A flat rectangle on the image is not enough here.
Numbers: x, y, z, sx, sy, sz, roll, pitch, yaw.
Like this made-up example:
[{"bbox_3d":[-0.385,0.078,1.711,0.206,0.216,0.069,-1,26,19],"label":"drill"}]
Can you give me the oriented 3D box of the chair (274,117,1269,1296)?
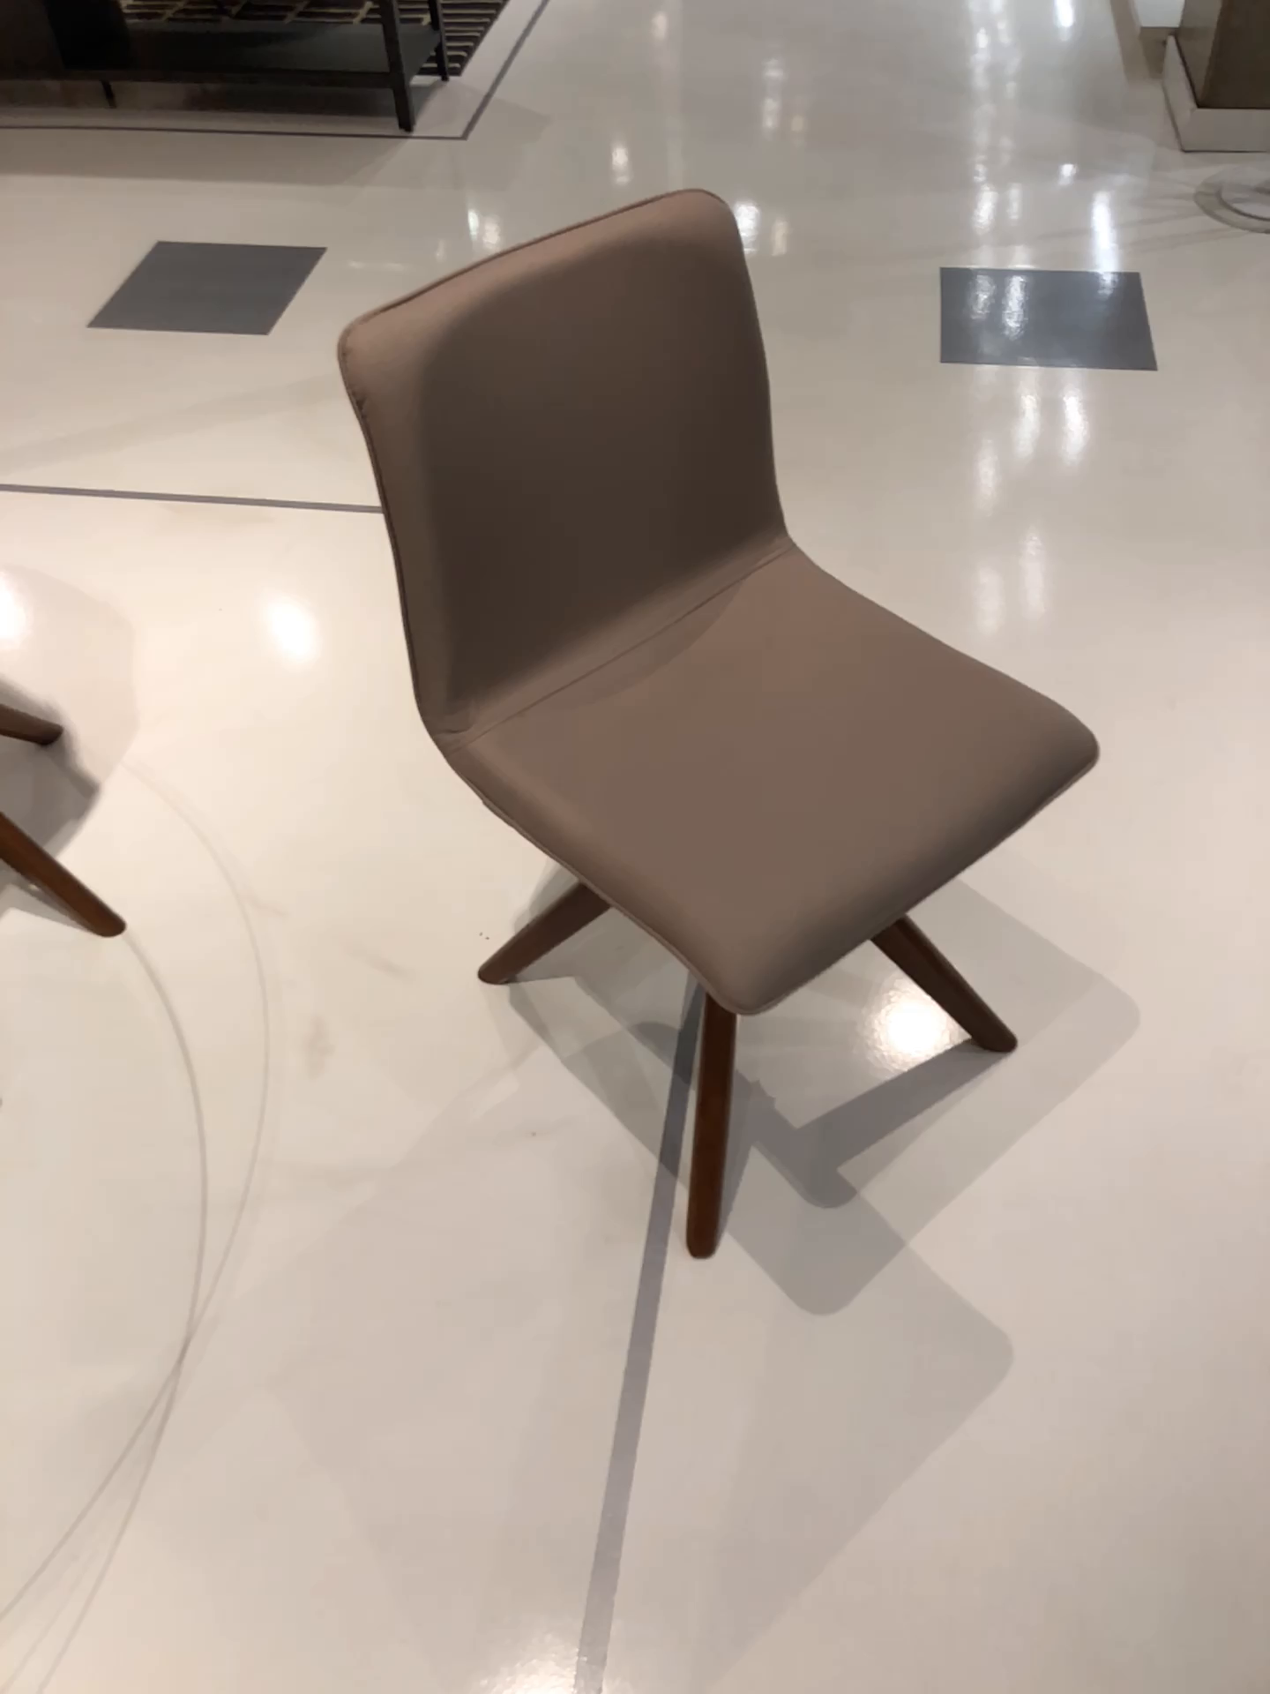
[{"bbox_3d":[0.108,-0.109,1.274,0.501,0.805,0.512,-32,53,-24],"label":"chair"}]
